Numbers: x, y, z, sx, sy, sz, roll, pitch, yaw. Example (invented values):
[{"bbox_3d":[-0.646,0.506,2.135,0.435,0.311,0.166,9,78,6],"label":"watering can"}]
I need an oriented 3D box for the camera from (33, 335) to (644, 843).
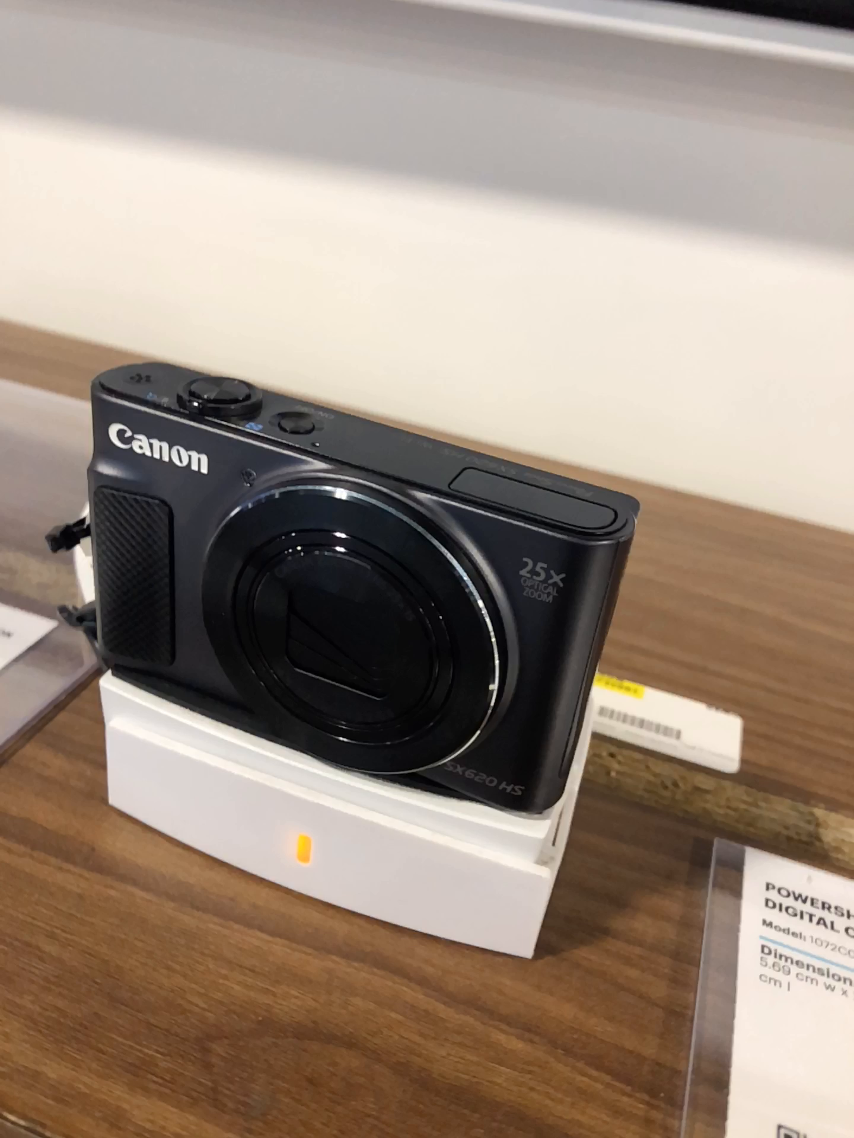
[{"bbox_3d":[-0.019,0.001,0.176,0.100,0.060,0.030,17,29,14],"label":"camera"}]
